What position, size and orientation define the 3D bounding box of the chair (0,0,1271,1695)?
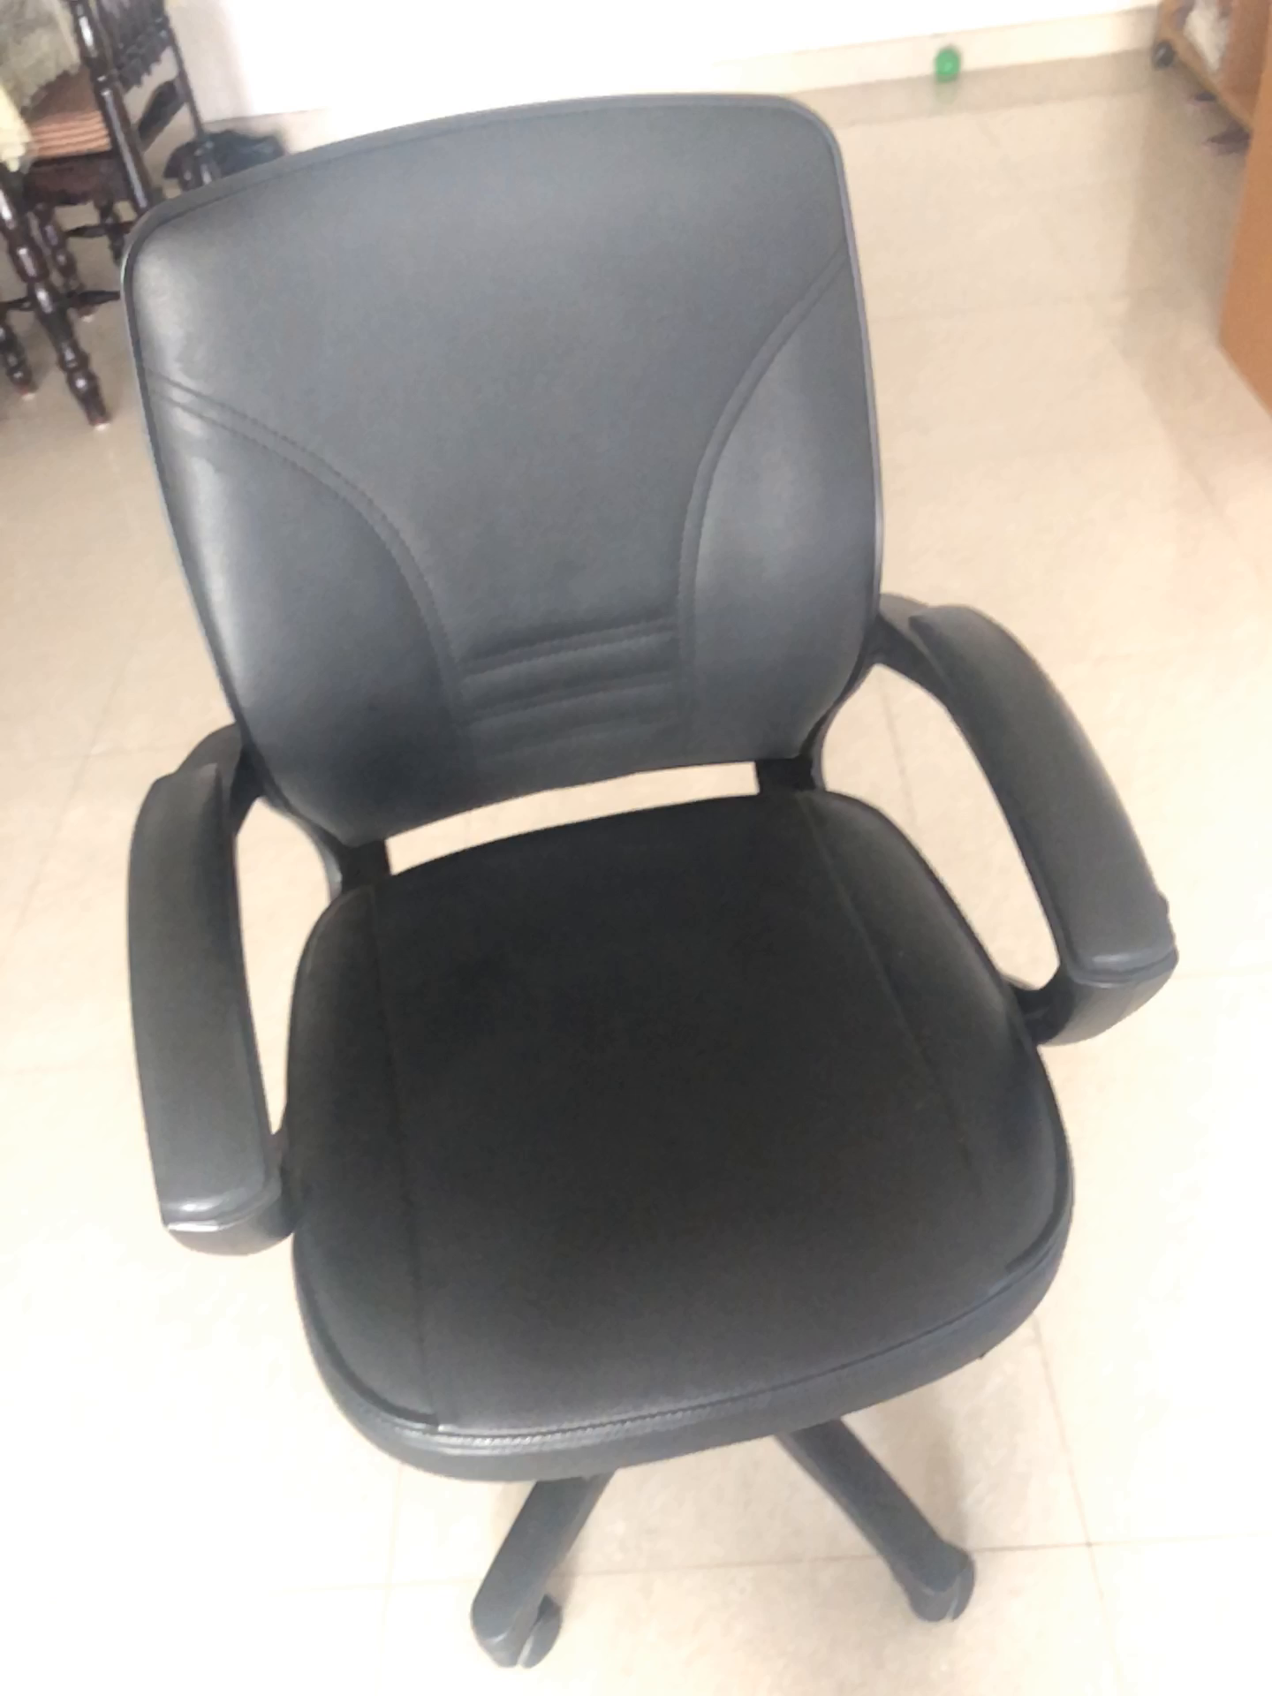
[{"bbox_3d":[0.013,0.081,0.964,0.700,0.953,0.634,-11,43,-4],"label":"chair"}]
